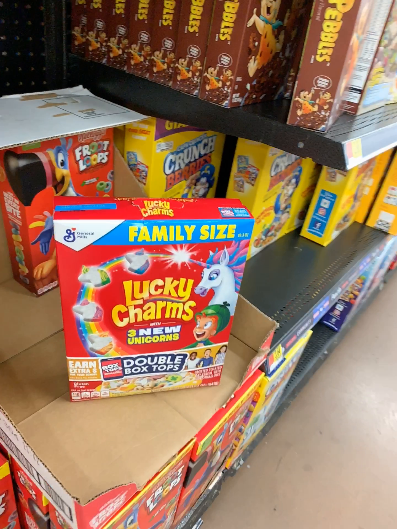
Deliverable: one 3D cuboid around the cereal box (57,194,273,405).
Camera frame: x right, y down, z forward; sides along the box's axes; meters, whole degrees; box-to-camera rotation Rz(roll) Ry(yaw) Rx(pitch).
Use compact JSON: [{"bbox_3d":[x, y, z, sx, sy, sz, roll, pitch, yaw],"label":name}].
[{"bbox_3d":[-0.052,0.053,0.532,0.230,0.289,0.060,-3,36,-16],"label":"cereal box"}]
